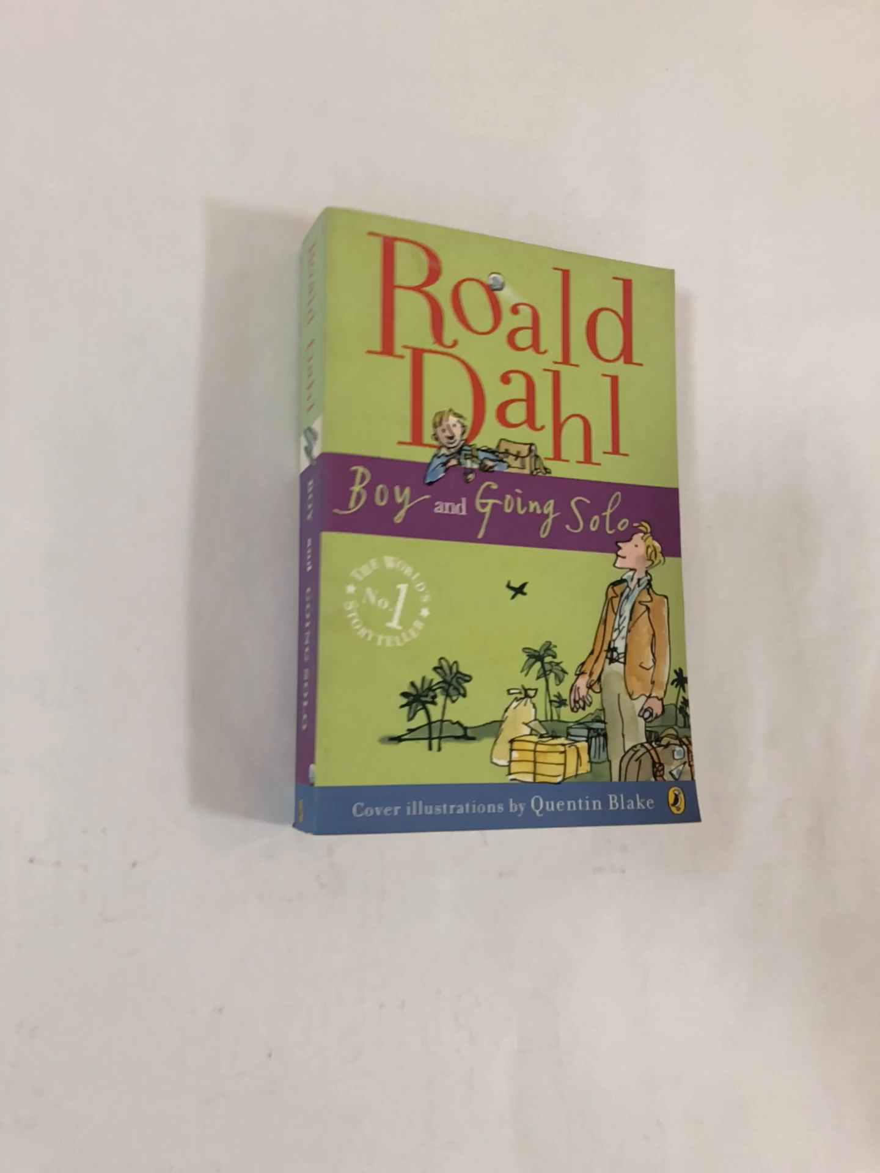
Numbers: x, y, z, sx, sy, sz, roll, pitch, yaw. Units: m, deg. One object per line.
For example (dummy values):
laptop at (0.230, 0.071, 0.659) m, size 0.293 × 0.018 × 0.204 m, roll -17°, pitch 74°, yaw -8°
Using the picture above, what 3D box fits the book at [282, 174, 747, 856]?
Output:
book at (0.024, -0.019, 0.314) m, size 0.140 × 0.036 × 0.193 m, roll 3°, pitch 81°, yaw -22°
